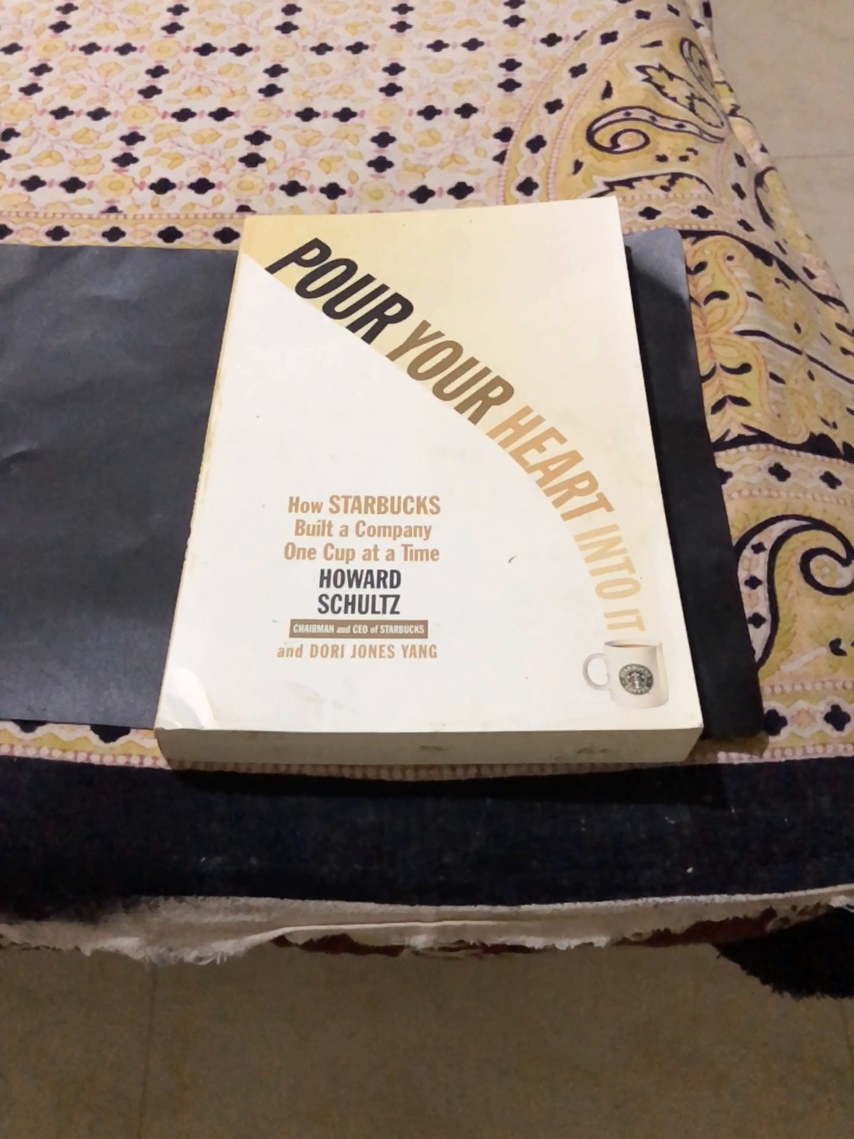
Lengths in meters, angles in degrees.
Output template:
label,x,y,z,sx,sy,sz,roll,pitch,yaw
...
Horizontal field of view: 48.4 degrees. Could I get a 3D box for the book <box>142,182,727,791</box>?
label,x,y,z,sx,sy,sz,roll,pitch,yaw
book,0.003,-0.045,0.346,0.160,0.050,0.240,0,57,1
